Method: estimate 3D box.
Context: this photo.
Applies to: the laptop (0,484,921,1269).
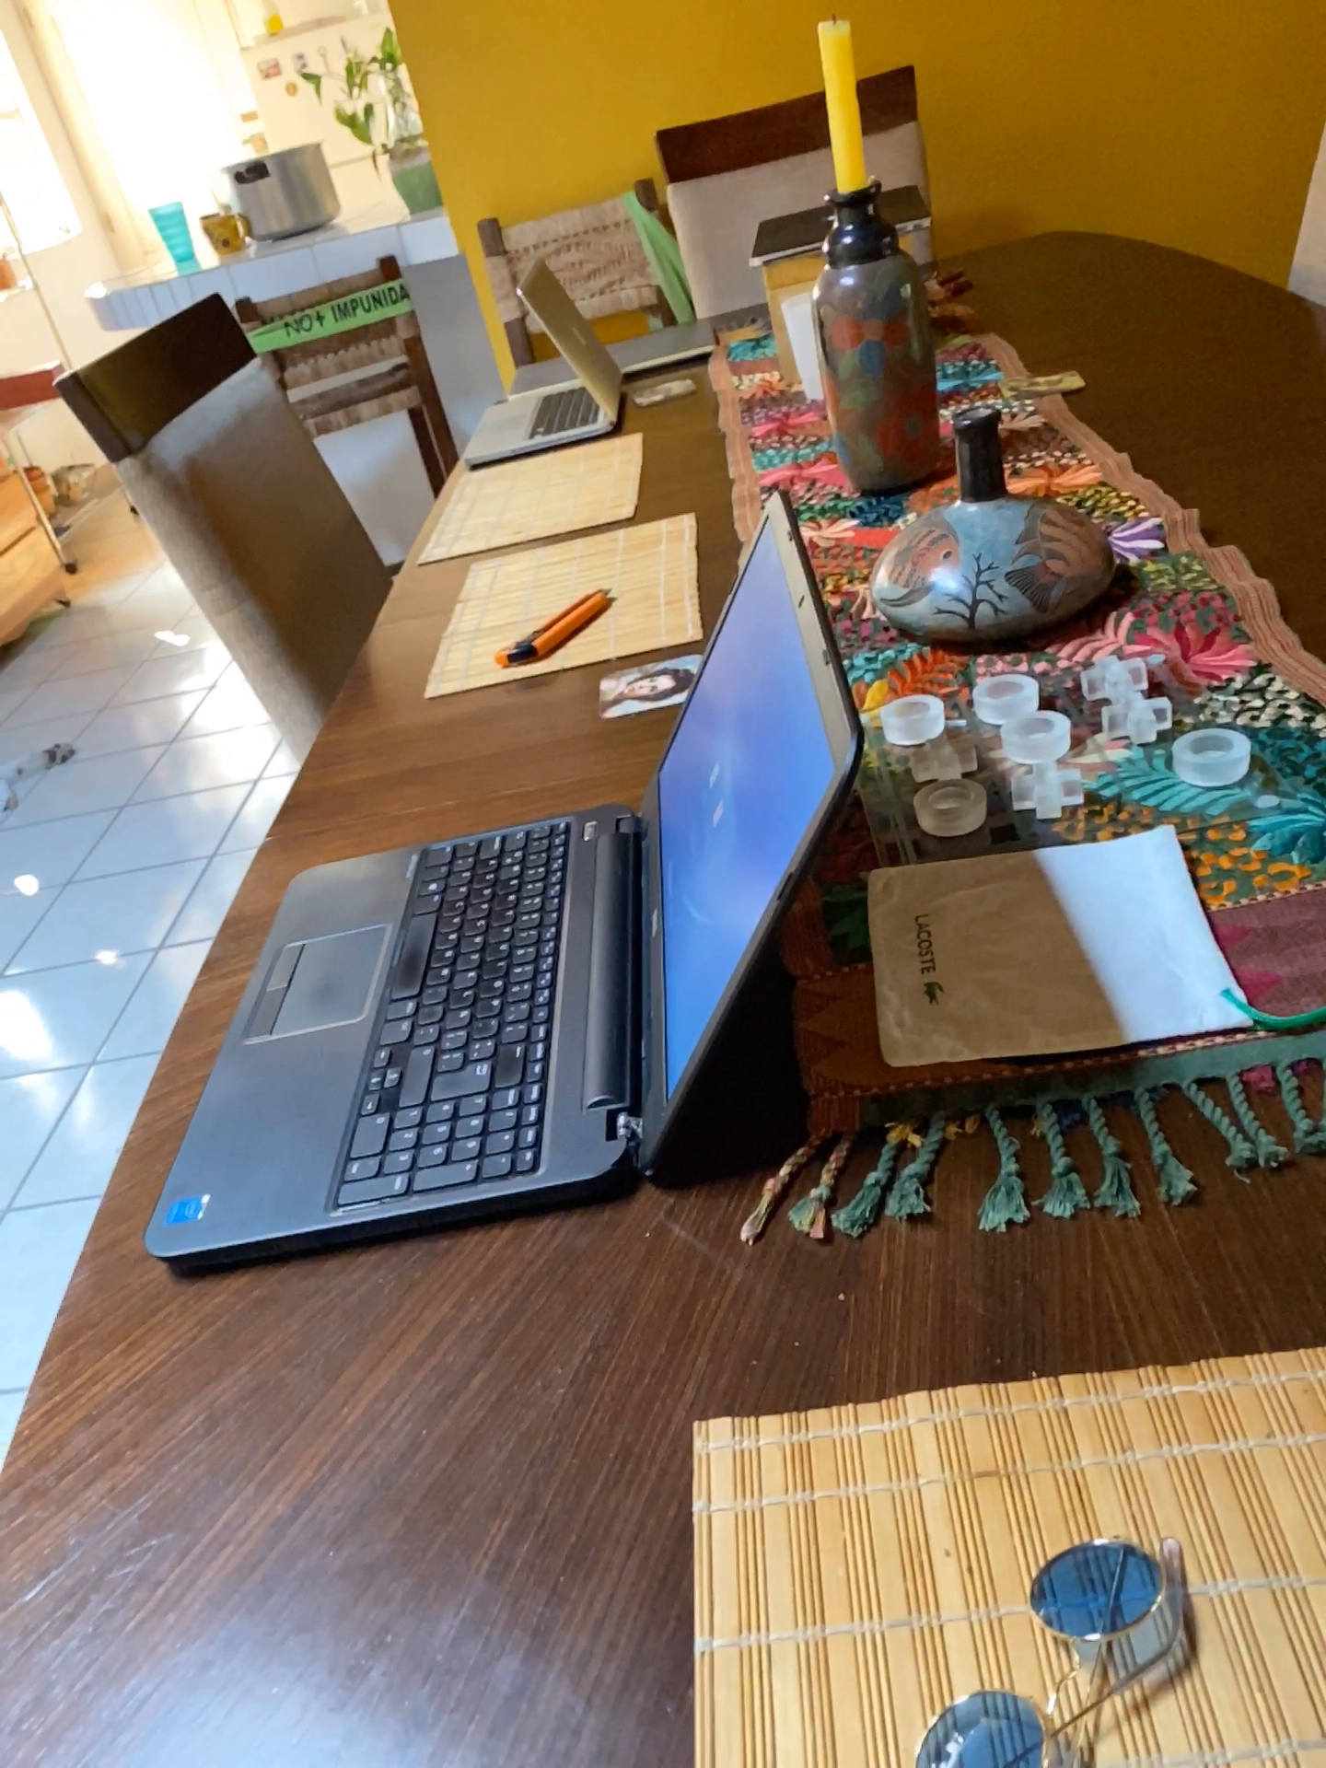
[{"bbox_3d":[-0.097,-0.028,0.762,0.395,0.194,0.369,-12,32,6],"label":"laptop"}]
